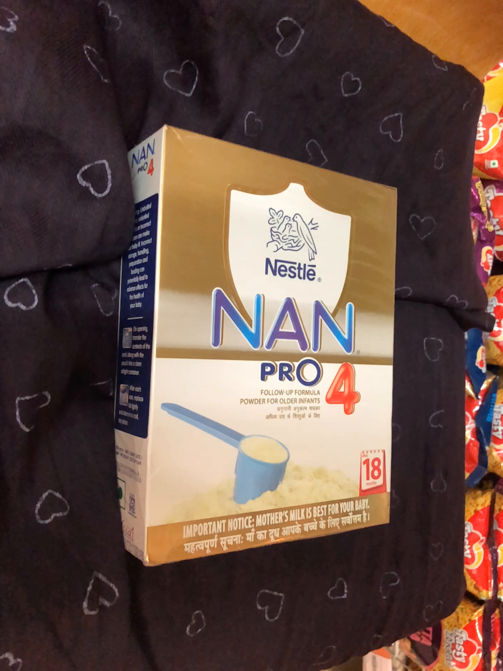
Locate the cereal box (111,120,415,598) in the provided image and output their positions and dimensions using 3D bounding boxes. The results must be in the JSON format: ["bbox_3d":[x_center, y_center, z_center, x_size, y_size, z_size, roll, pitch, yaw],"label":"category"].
[{"bbox_3d":[0.013,0.013,0.309,0.161,0.050,0.210,3,87,-32],"label":"cereal box"}]
